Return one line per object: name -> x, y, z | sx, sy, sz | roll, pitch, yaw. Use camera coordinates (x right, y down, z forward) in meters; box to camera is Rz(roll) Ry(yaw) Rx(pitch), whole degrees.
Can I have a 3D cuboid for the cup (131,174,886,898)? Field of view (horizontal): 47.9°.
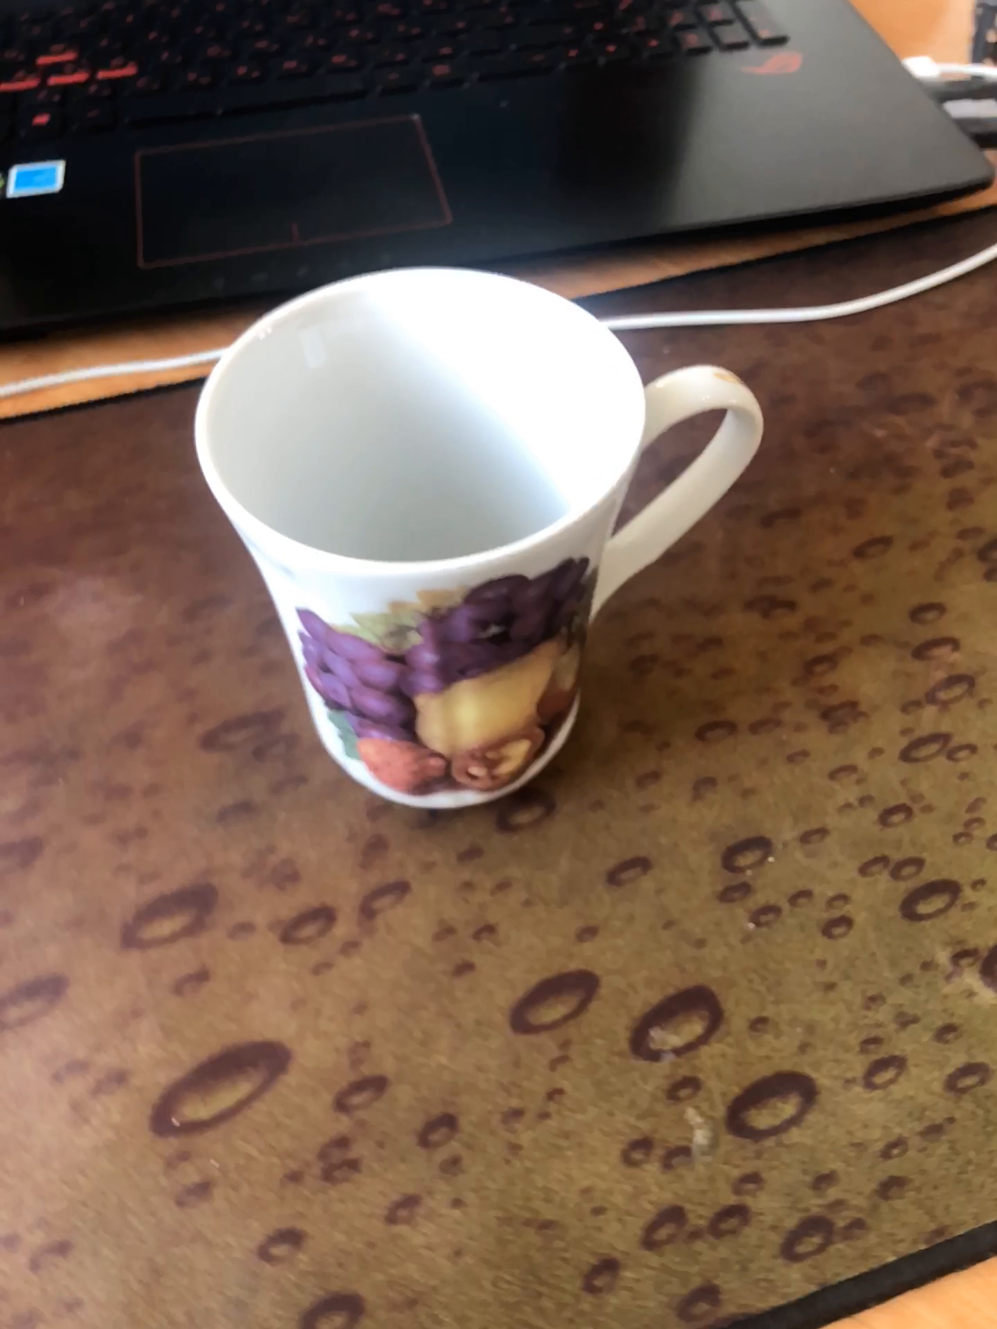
cup -> -0.001, -0.026, 0.217 | 0.100, 0.080, 0.080 | -21, 54, -14
